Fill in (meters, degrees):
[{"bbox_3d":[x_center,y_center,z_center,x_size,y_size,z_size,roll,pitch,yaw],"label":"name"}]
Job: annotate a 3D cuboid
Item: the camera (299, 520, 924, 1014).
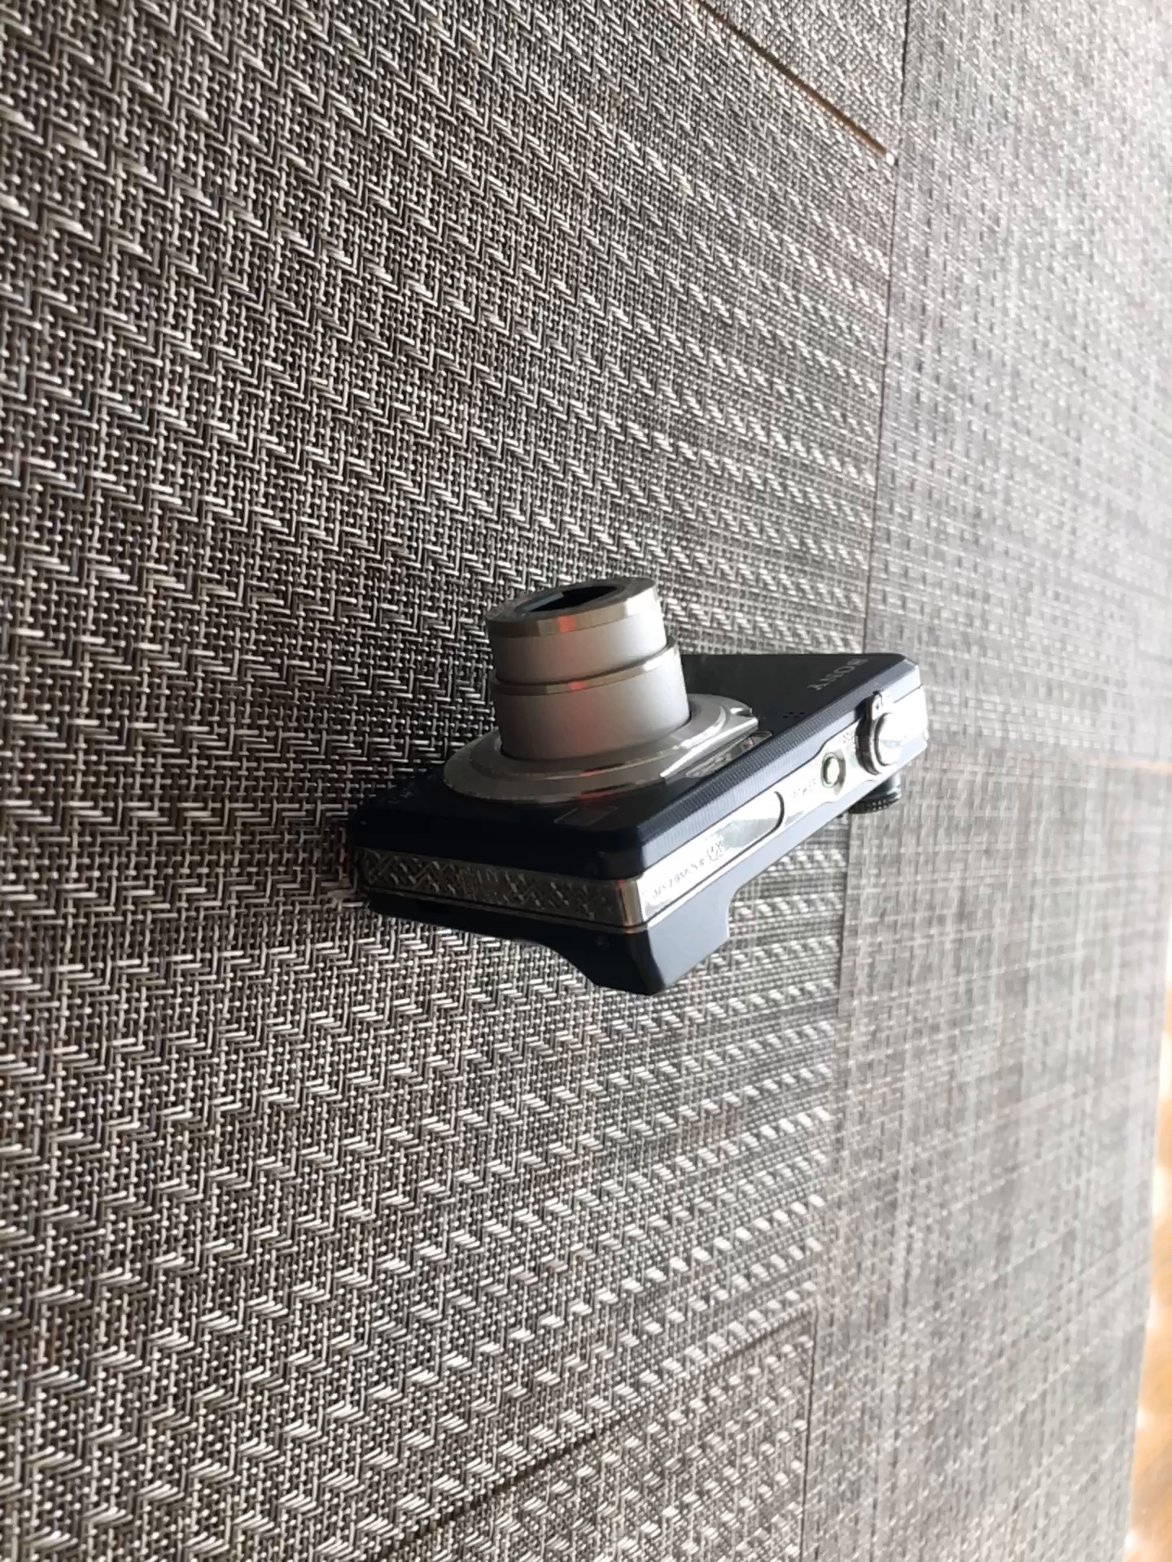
[{"bbox_3d":[0.010,-0.009,0.222,0.096,0.052,0.049,-29,116,-46],"label":"camera"}]
